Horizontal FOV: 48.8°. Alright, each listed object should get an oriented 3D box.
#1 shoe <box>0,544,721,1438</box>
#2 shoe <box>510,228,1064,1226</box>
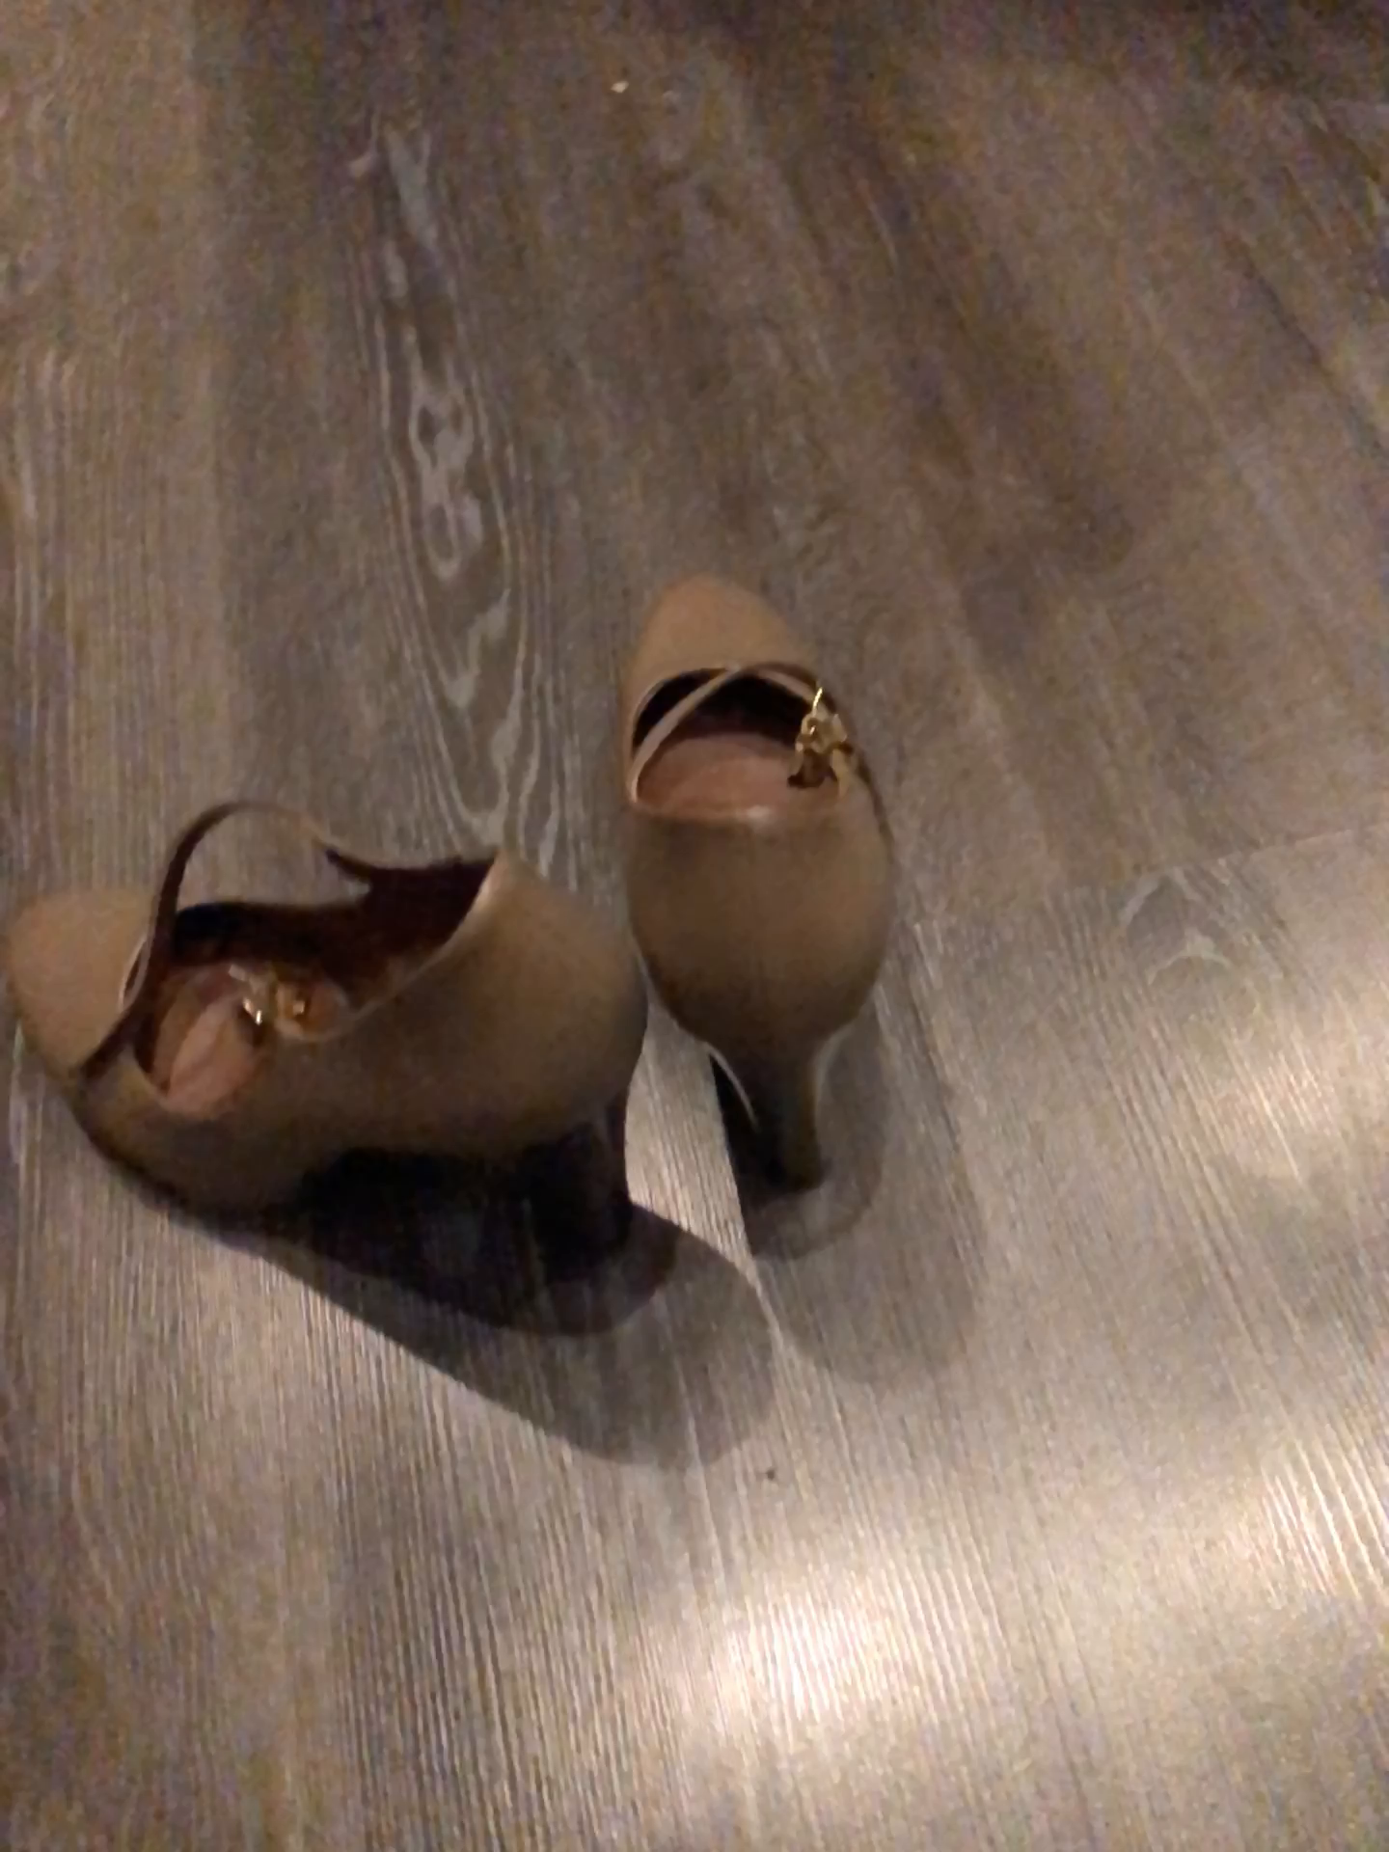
[{"bbox_3d":[-0.111,0.020,0.379,0.210,0.149,0.090,22,62,17],"label":"shoe"},{"bbox_3d":[0.016,-0.052,0.414,0.090,0.149,0.211,-9,58,-1],"label":"shoe"}]
